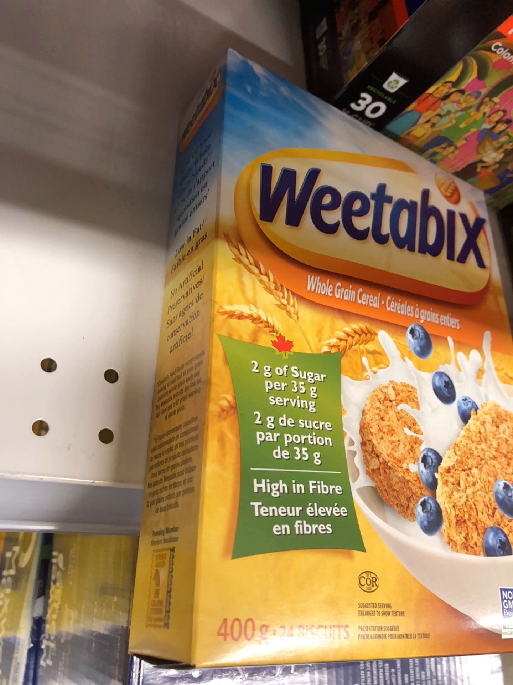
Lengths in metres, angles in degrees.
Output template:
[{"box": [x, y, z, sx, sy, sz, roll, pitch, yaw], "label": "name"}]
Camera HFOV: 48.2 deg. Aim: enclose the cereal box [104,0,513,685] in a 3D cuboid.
[{"box": [0.051, -0.003, 0.284, 0.211, 0.050, 0.290, 16, 59, -29], "label": "cereal box"}]
